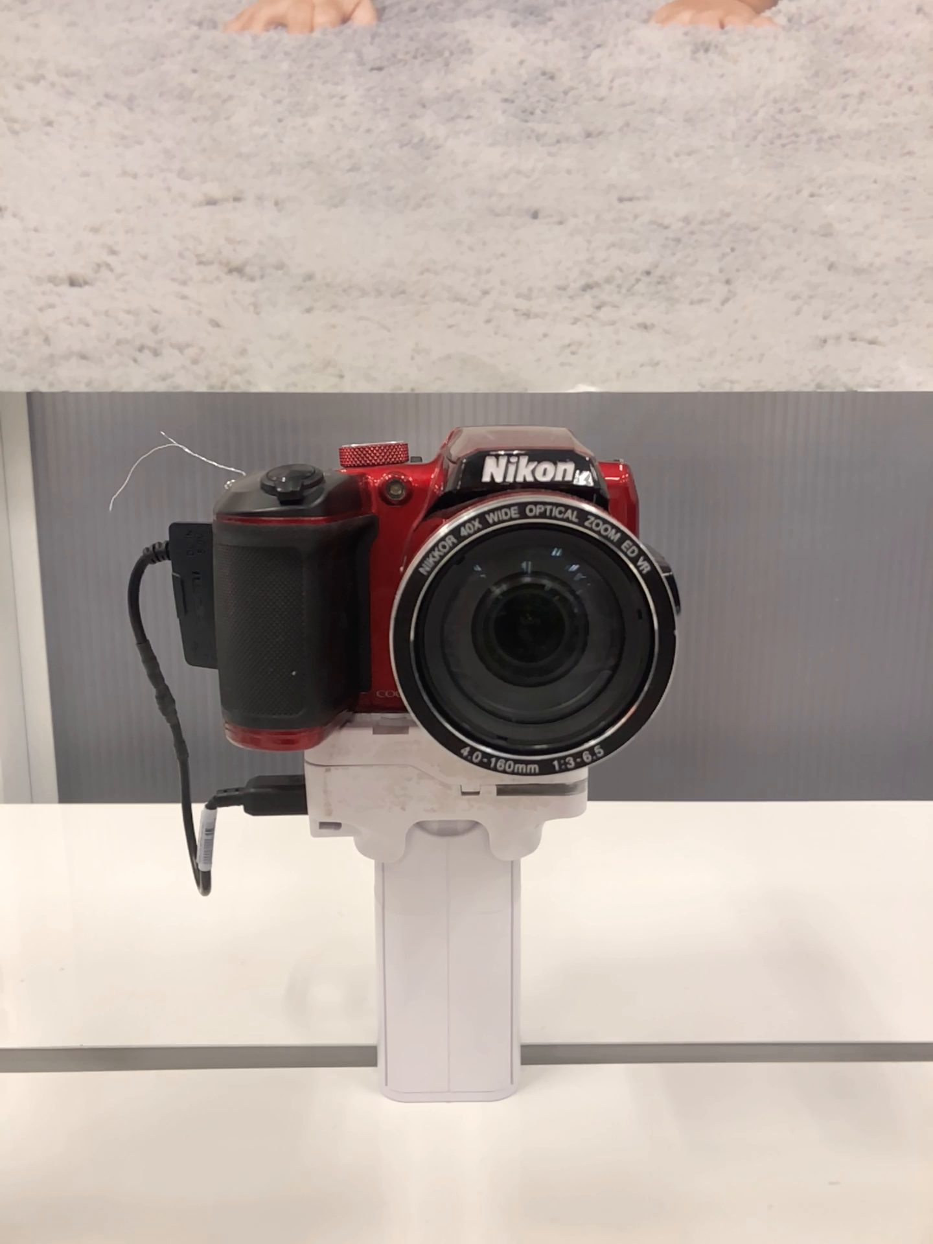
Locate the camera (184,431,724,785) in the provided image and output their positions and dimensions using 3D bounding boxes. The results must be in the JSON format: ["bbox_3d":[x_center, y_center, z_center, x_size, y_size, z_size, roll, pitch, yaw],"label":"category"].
[{"bbox_3d":[-0.003,-0.009,0.259,0.110,0.074,0.084,0,11,-1],"label":"camera"}]
